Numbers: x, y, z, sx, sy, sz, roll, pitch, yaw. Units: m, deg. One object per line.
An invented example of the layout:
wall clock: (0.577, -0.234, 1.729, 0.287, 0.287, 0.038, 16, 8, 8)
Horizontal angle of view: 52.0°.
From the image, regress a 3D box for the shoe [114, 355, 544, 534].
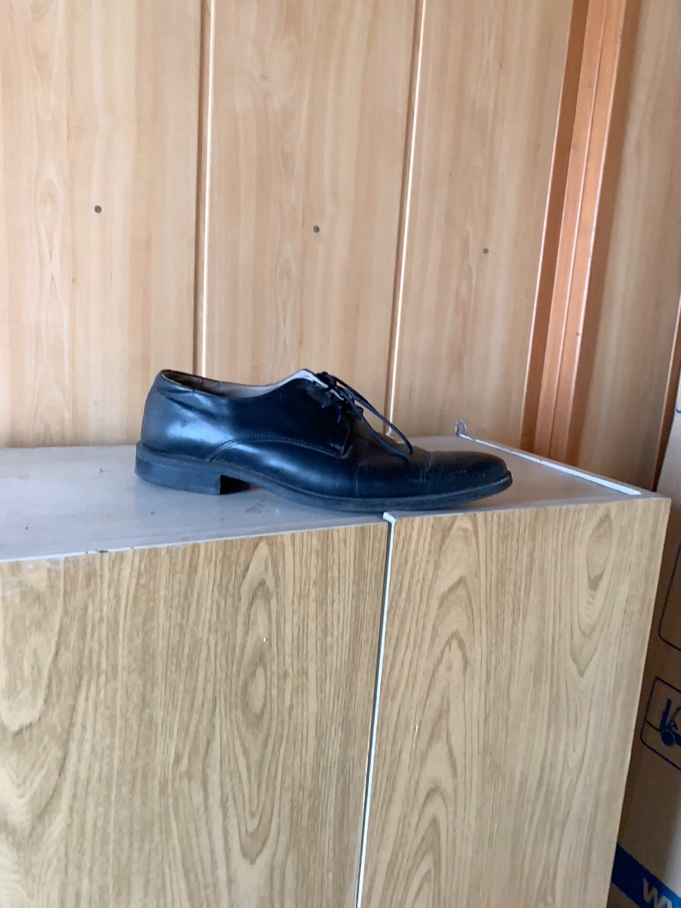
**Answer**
shoe: (-0.006, -0.017, 0.557, 0.300, 0.090, 0.141, 5, 12, 7)
